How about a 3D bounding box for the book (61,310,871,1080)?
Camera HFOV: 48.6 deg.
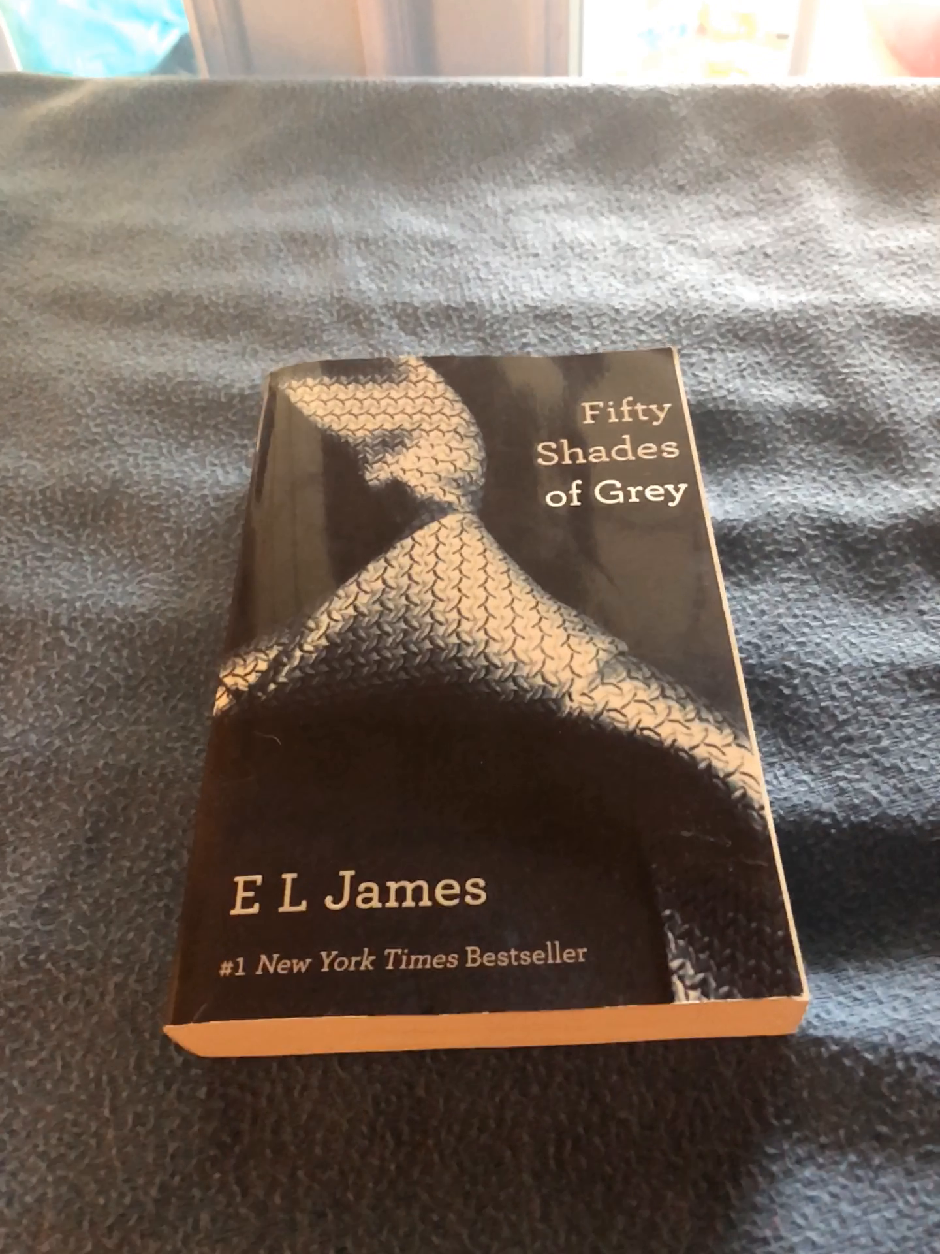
[{"bbox_3d":[-0.002,0.001,0.274,0.150,0.040,0.211,-3,51,3],"label":"book"}]
